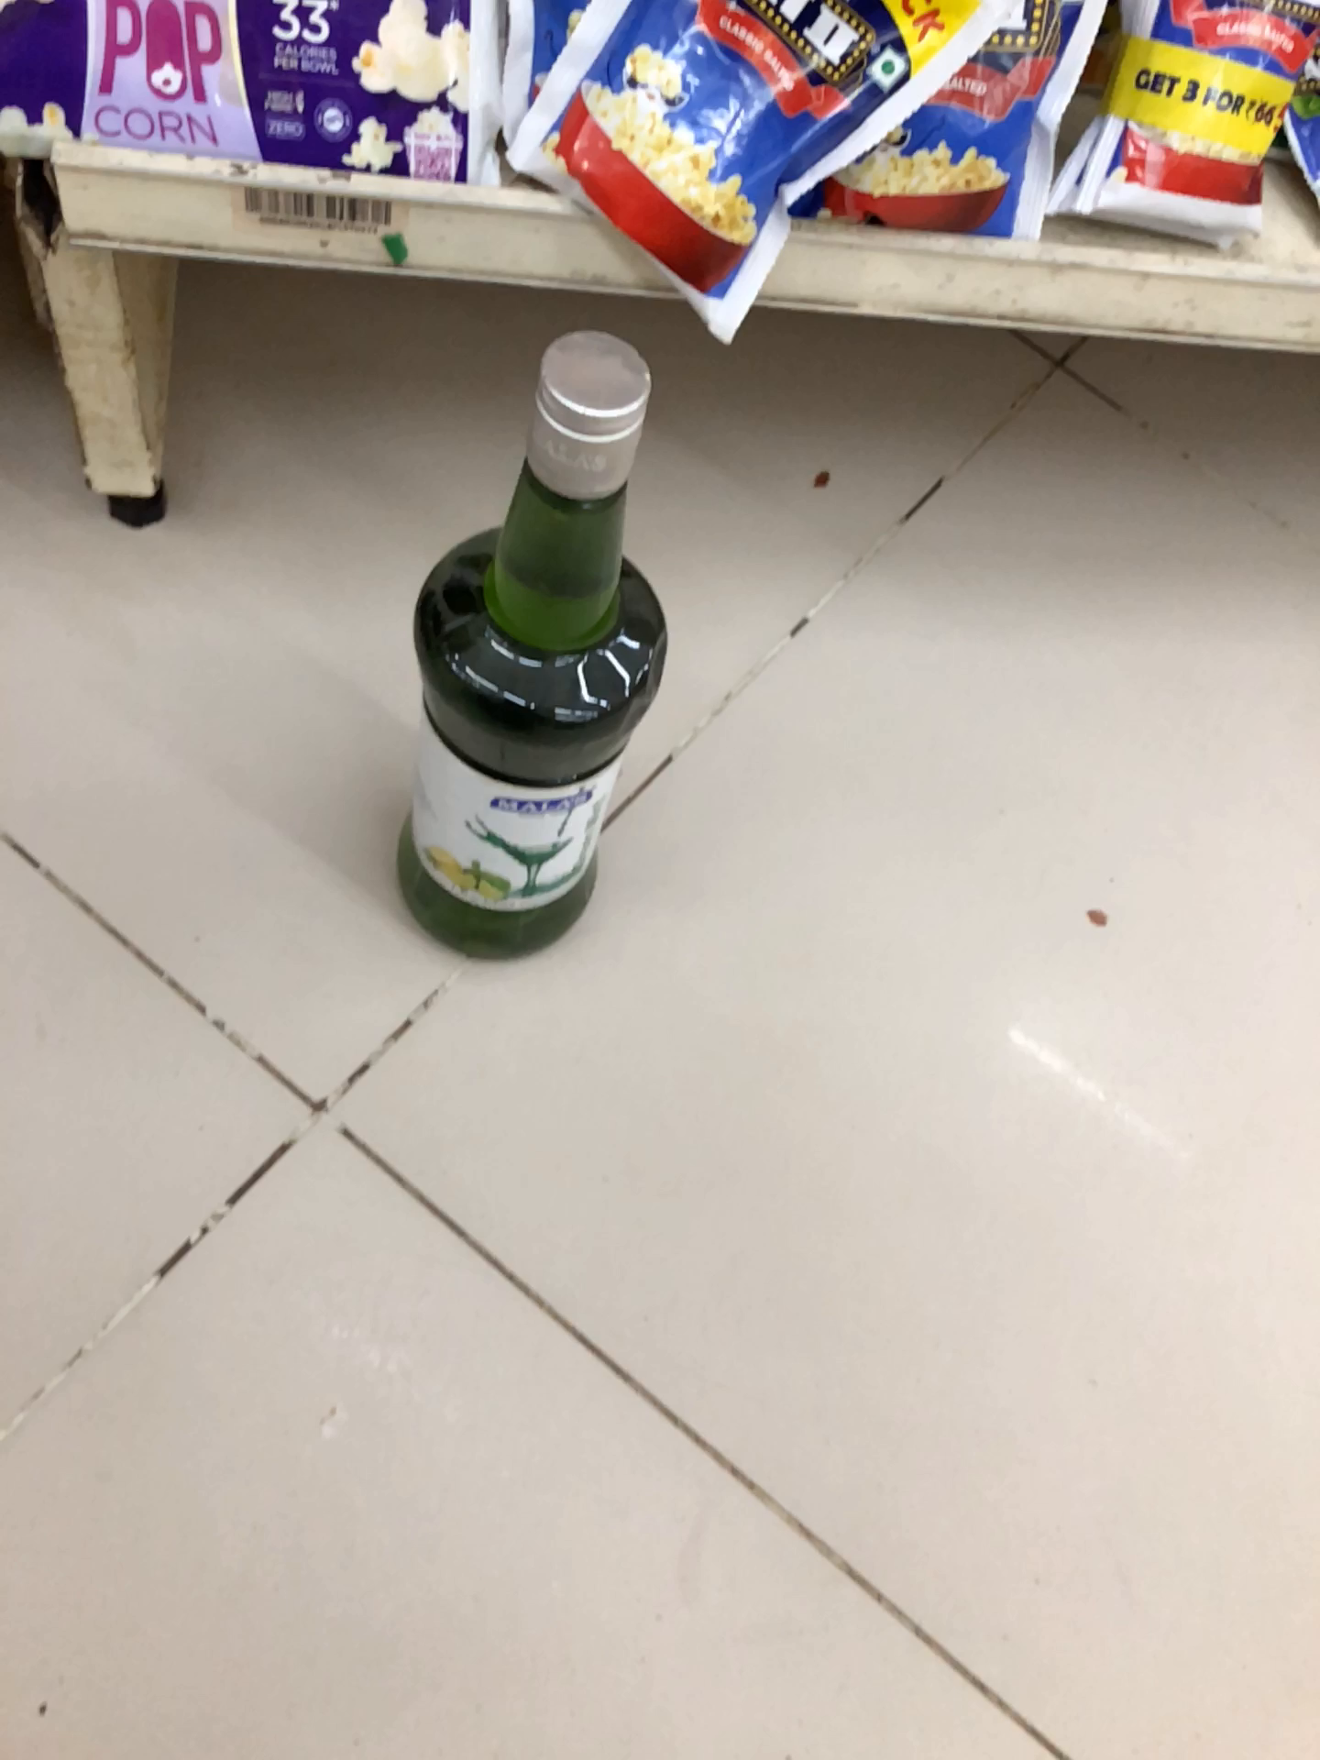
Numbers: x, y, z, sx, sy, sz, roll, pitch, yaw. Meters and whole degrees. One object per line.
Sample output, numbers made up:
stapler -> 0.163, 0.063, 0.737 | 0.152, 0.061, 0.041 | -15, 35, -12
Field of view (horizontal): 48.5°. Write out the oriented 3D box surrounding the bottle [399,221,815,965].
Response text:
bottle -> -0.036, -0.069, 0.487 | 0.090, 0.279, 0.090 | 4, 64, -9
